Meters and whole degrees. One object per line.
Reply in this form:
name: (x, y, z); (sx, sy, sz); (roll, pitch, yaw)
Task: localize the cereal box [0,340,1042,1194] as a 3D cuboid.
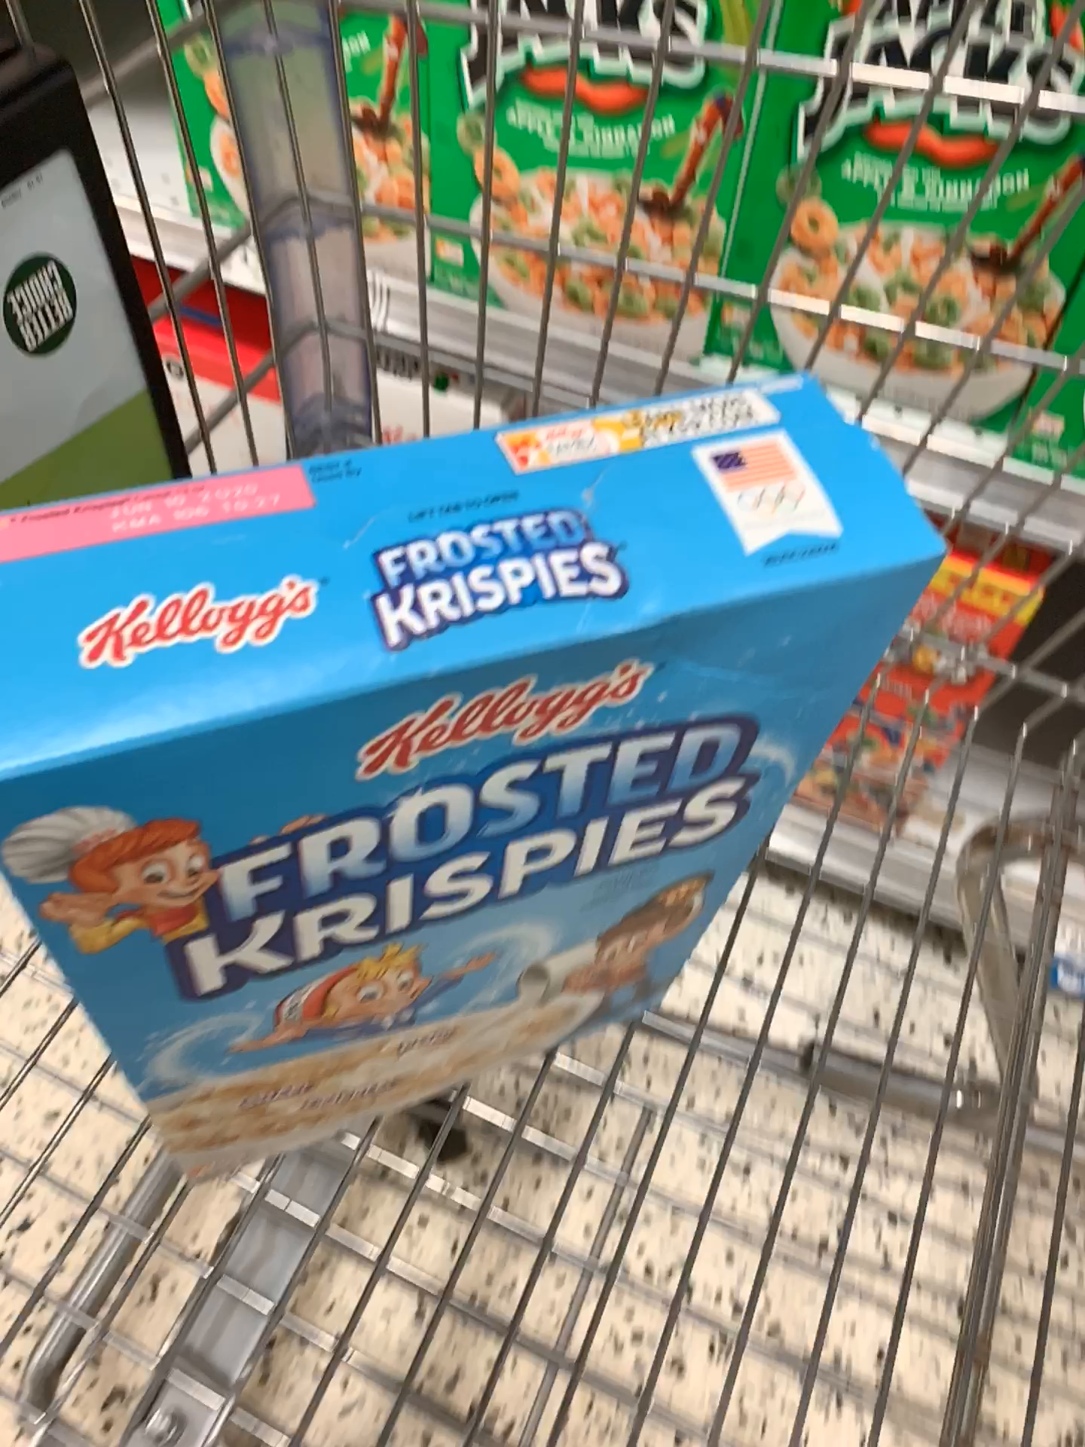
cereal box: (-0.026, 0.048, 0.335); (0.200, 0.318, 0.060); (-14, 61, -16)
